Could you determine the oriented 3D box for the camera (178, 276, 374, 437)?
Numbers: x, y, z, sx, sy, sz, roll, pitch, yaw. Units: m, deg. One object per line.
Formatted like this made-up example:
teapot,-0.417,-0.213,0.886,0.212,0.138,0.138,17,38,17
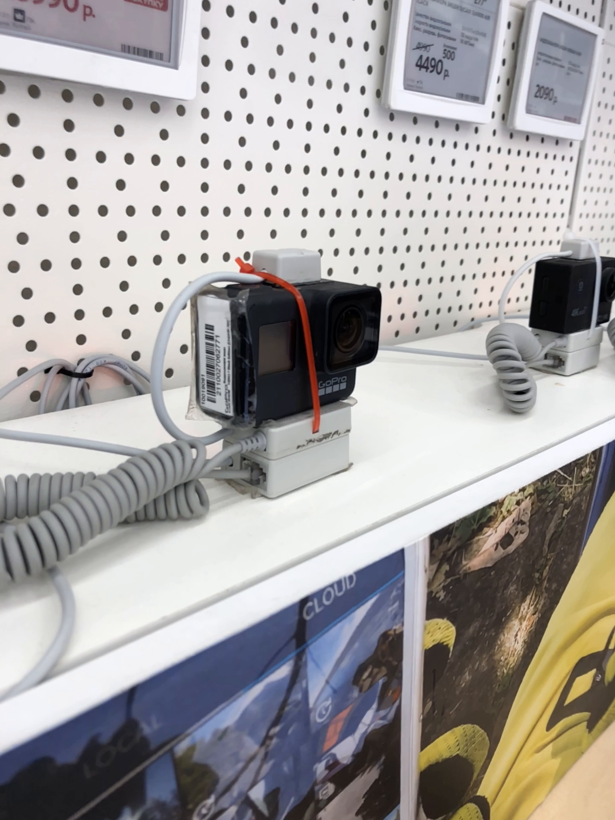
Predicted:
camera,-0.010,-0.022,0.240,0.032,0.043,0.064,17,23,38
